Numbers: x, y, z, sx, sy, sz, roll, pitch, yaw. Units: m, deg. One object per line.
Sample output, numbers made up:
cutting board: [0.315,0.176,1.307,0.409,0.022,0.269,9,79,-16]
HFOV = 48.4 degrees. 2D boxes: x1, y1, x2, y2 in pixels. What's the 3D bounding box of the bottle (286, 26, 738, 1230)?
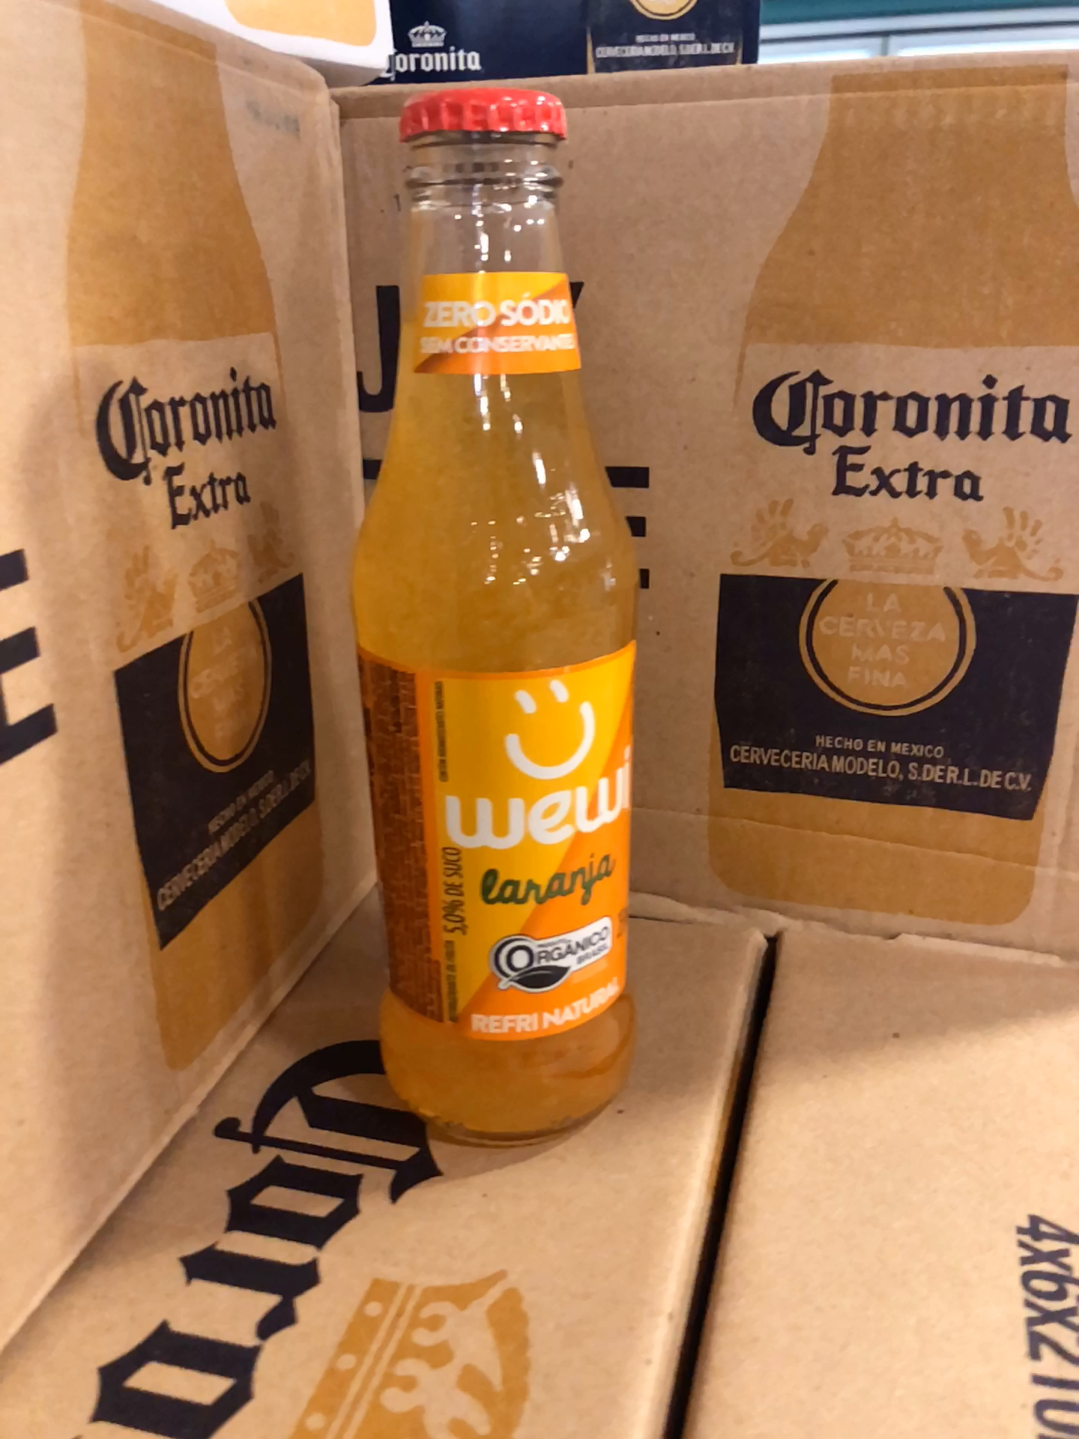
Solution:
bottle: [-0.006,-0.012,0.241,0.060,0.209,0.060,-1,18,0]
